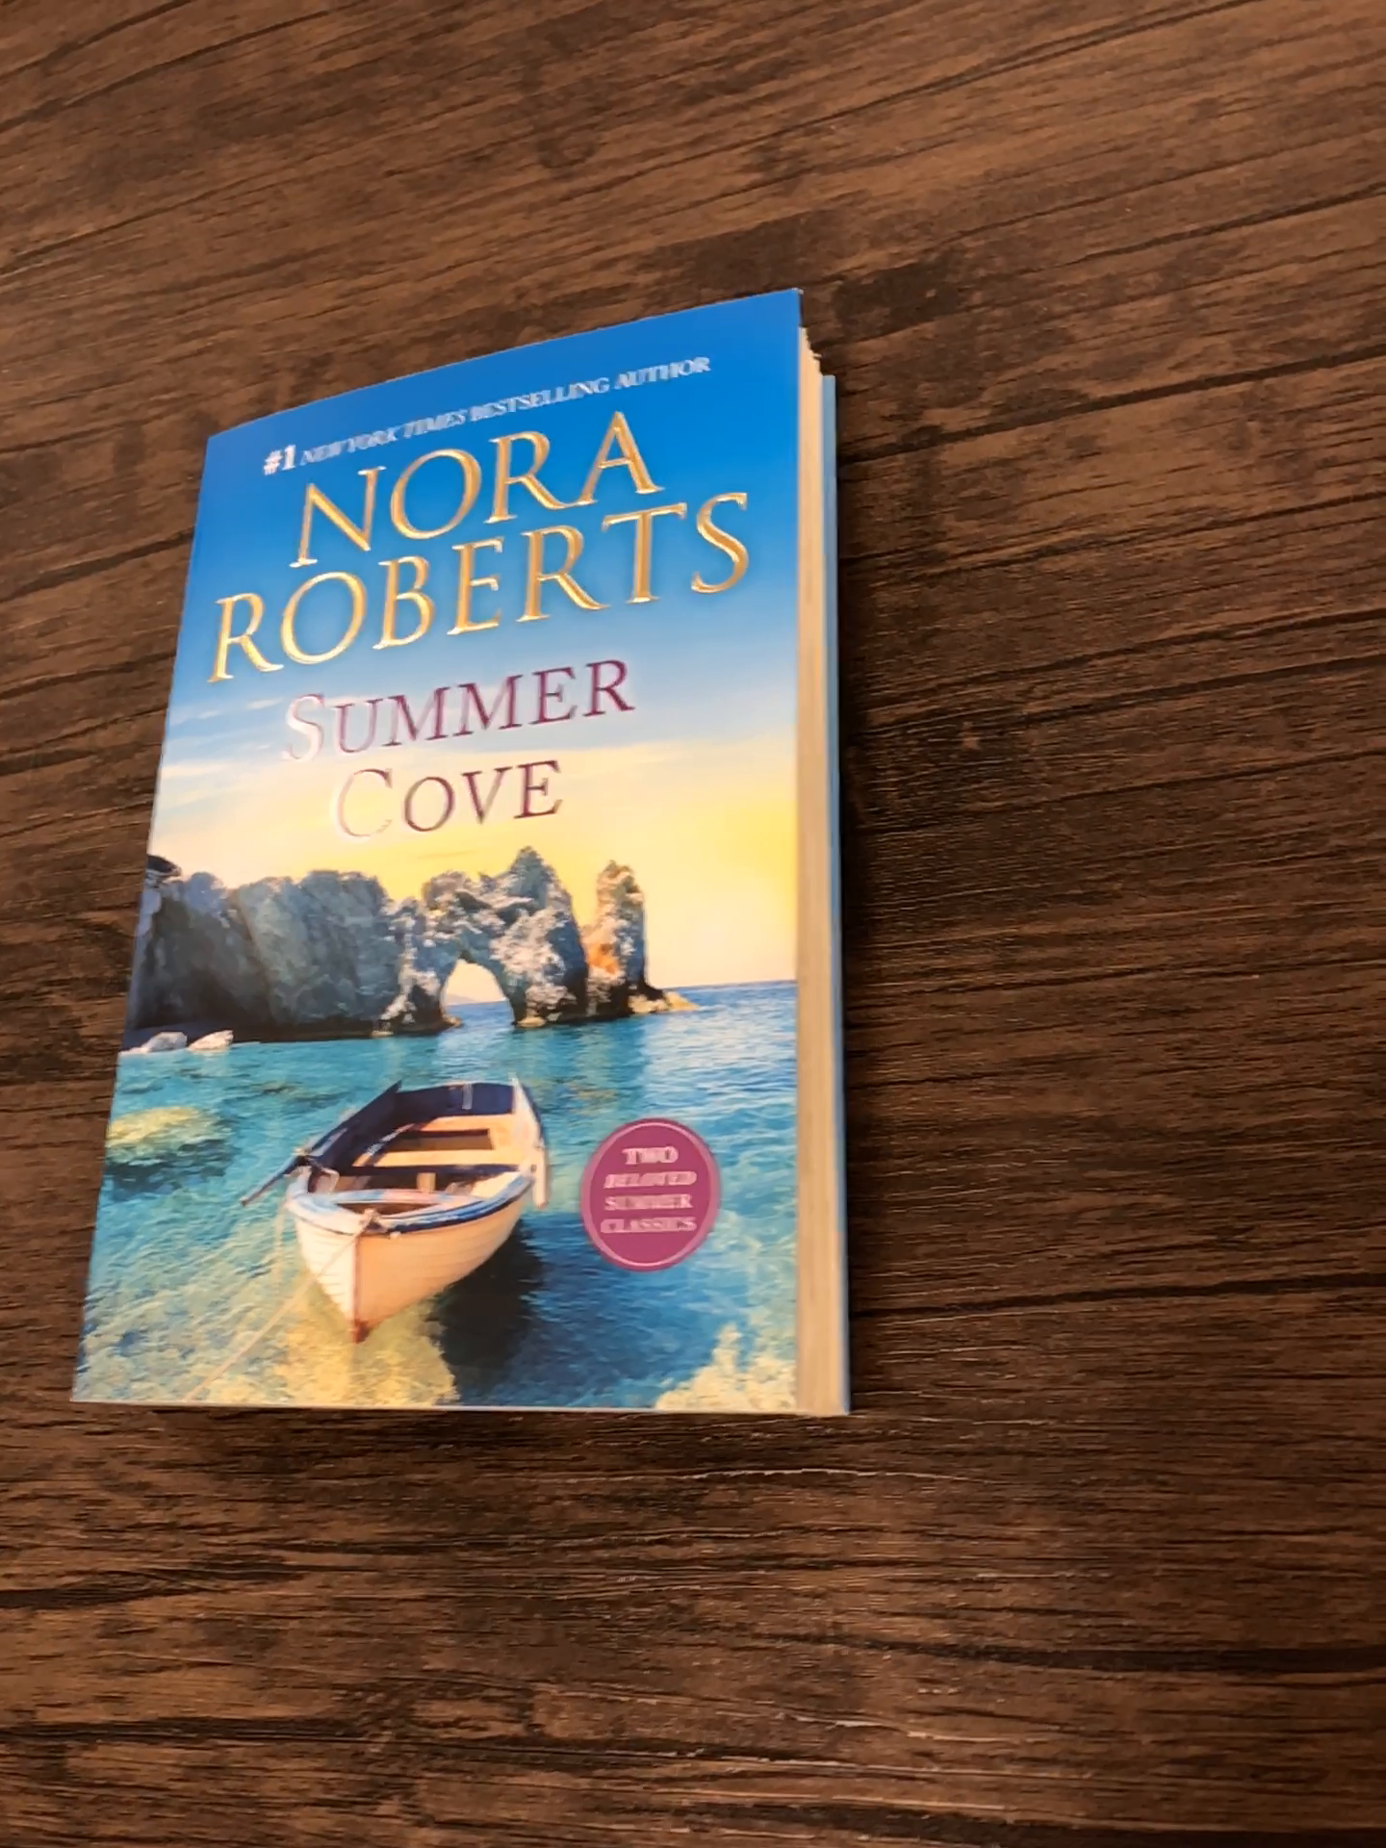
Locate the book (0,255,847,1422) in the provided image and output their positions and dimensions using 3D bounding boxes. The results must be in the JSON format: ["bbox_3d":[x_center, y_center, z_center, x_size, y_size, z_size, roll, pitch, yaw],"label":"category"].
[{"bbox_3d":[-0.046,-0.014,0.300,0.140,0.043,0.210,-6,70,18],"label":"book"}]
